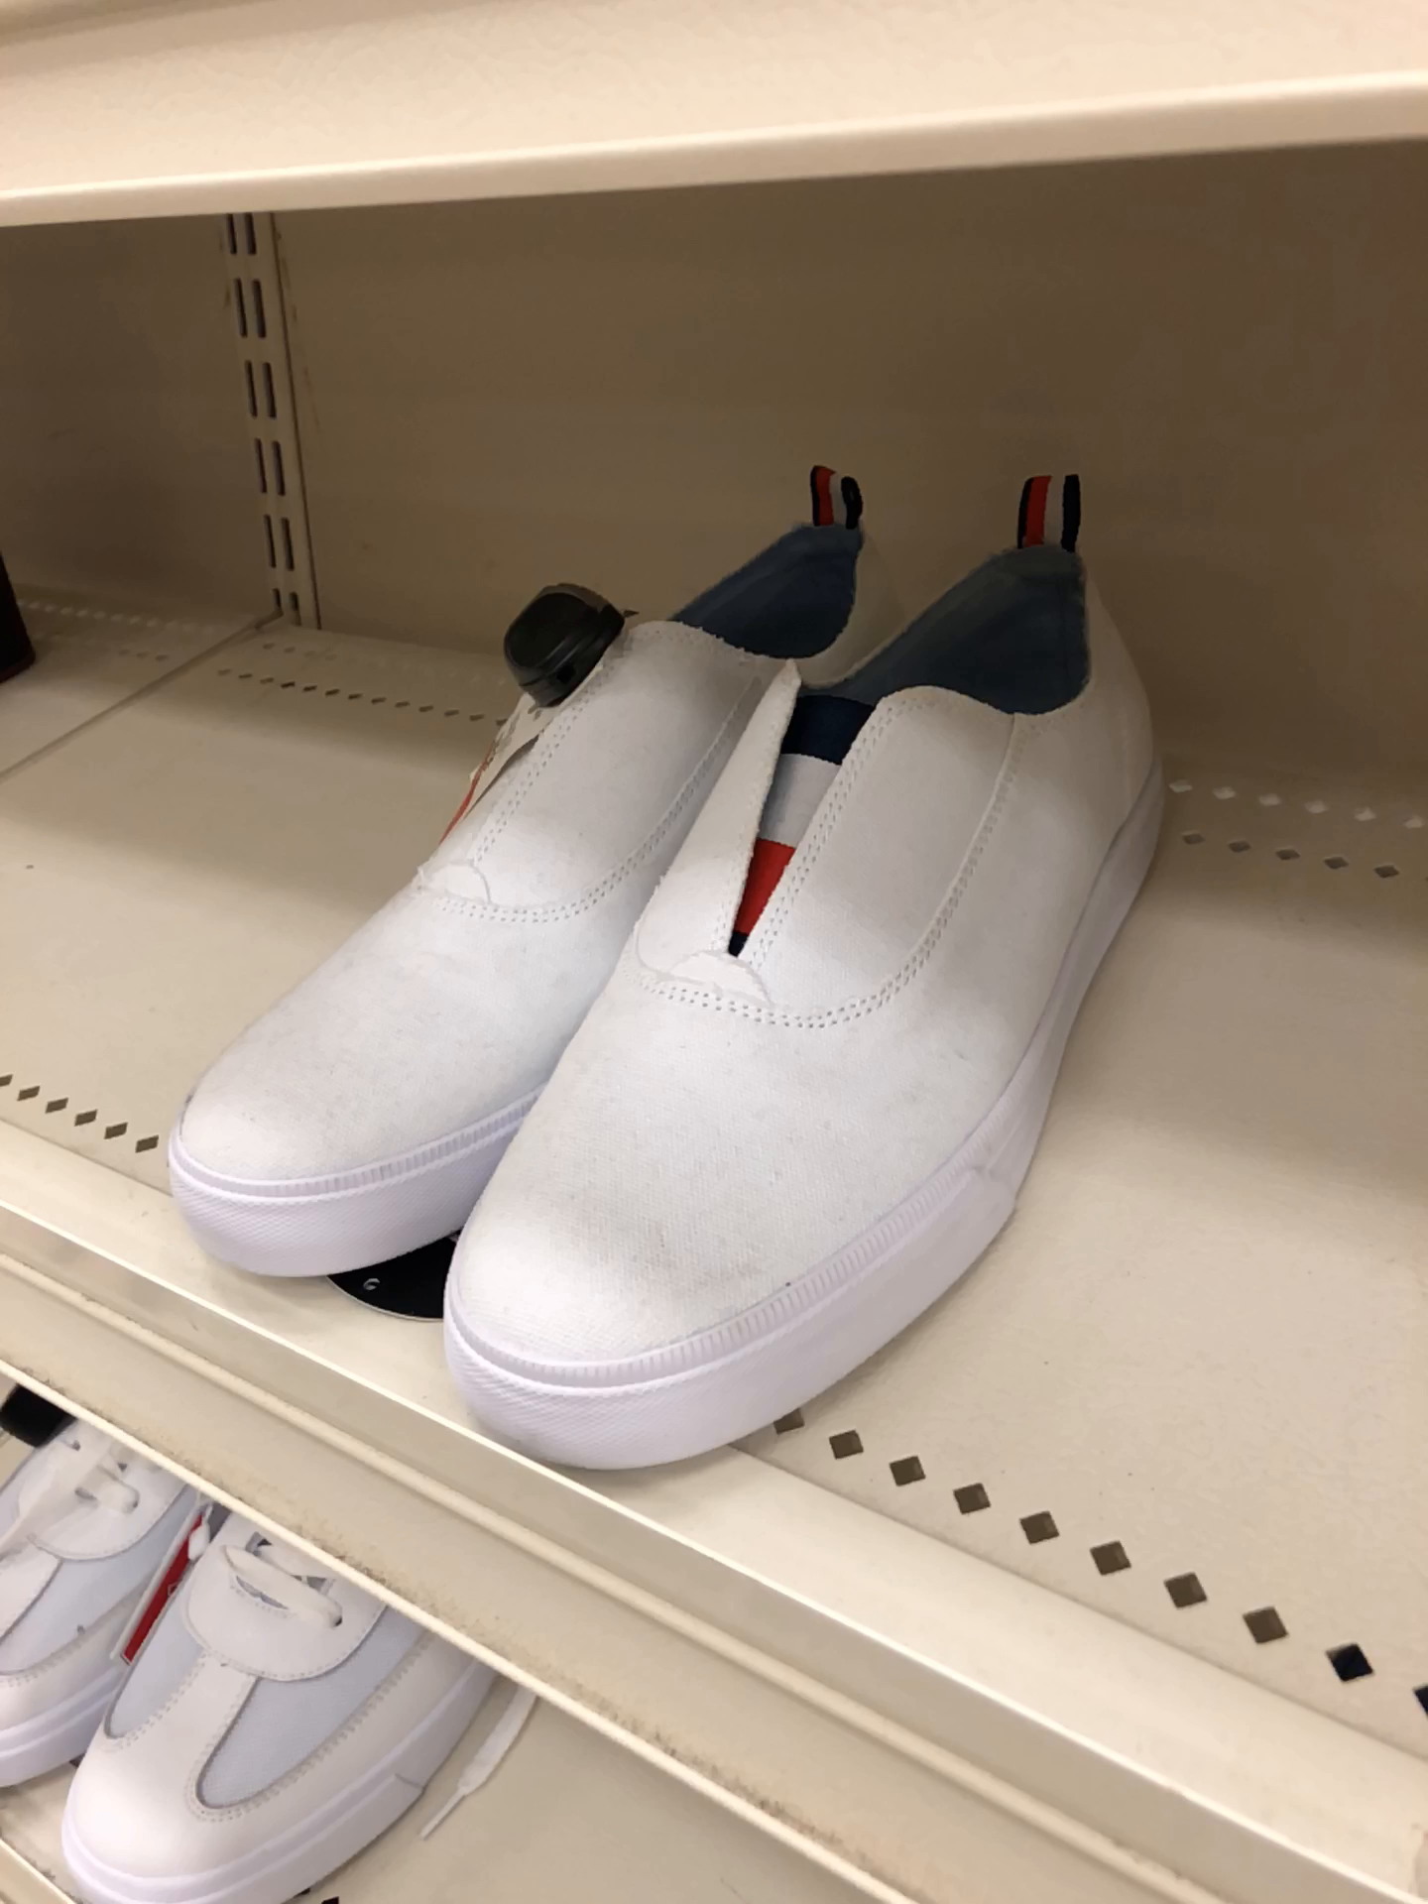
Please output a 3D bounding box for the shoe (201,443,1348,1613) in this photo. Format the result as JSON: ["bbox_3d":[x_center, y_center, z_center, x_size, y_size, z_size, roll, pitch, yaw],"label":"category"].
[{"bbox_3d":[0.047,-0.019,0.368,0.100,0.109,0.302,14,38,33],"label":"shoe"}]

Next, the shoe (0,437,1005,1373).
[{"bbox_3d":[-0.040,-0.042,0.397,0.100,0.089,0.292,14,38,33],"label":"shoe"}]
